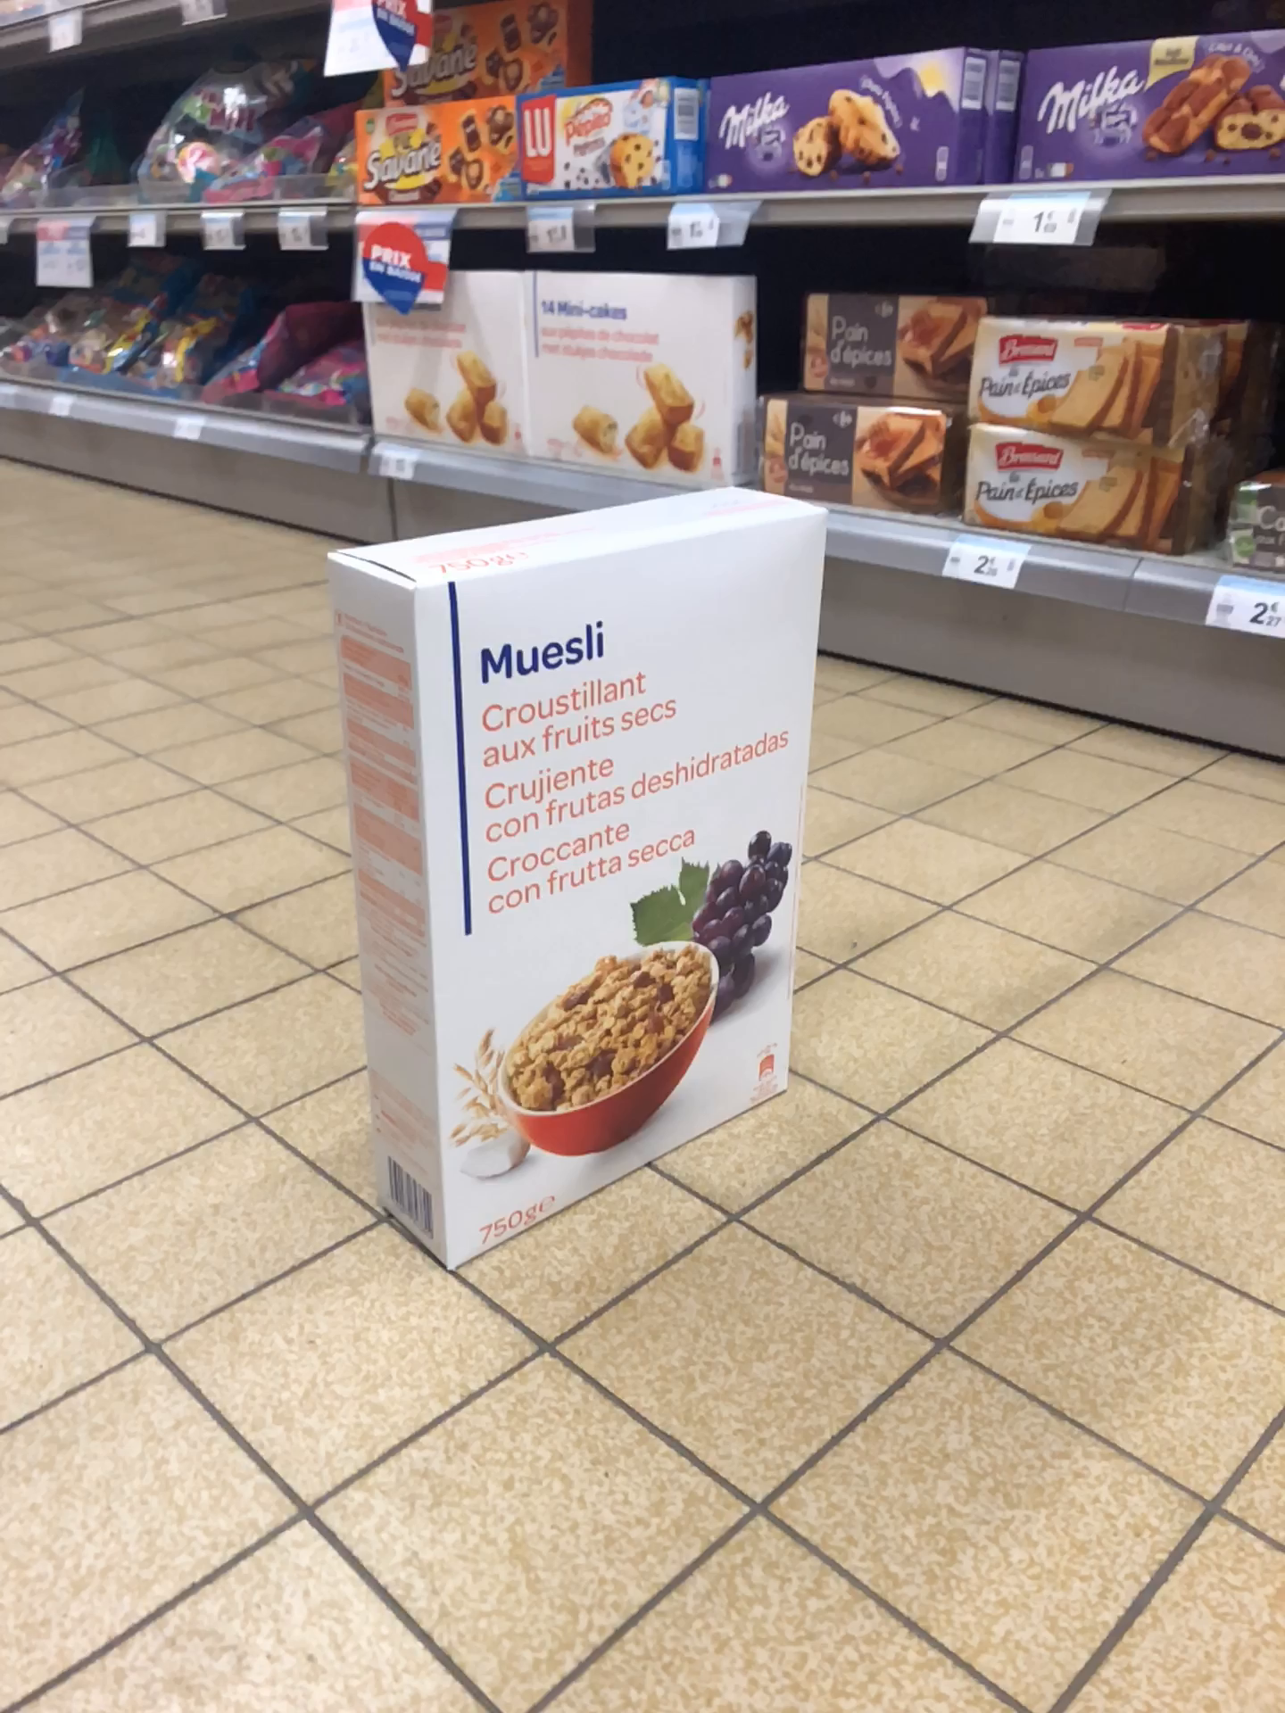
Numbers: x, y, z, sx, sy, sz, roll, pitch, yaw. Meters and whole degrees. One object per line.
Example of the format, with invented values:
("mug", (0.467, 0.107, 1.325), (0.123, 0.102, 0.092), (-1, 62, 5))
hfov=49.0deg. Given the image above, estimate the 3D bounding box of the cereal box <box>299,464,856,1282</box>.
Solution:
("cereal box", (-0.017, -0.001, 0.547), (0.201, 0.269, 0.060), (-19, 31, -37))
